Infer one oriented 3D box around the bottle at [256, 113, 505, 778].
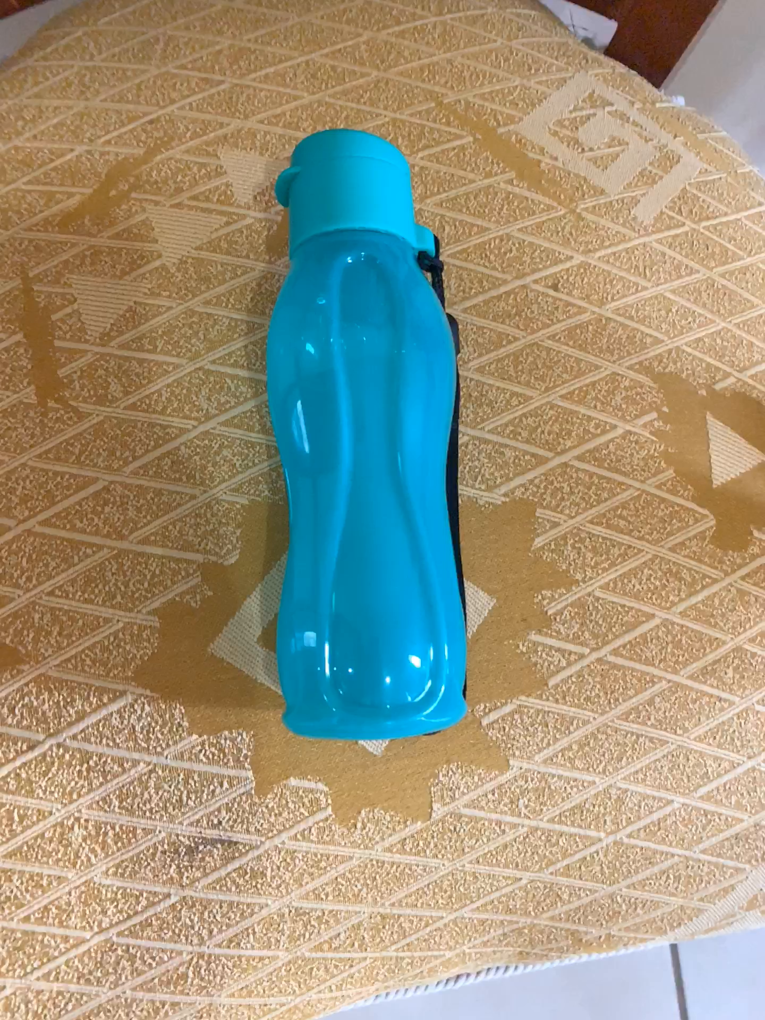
[{"bbox_3d":[-0.005,-0.021,0.260,0.070,0.050,0.200,0,81,-8],"label":"bottle"}]
